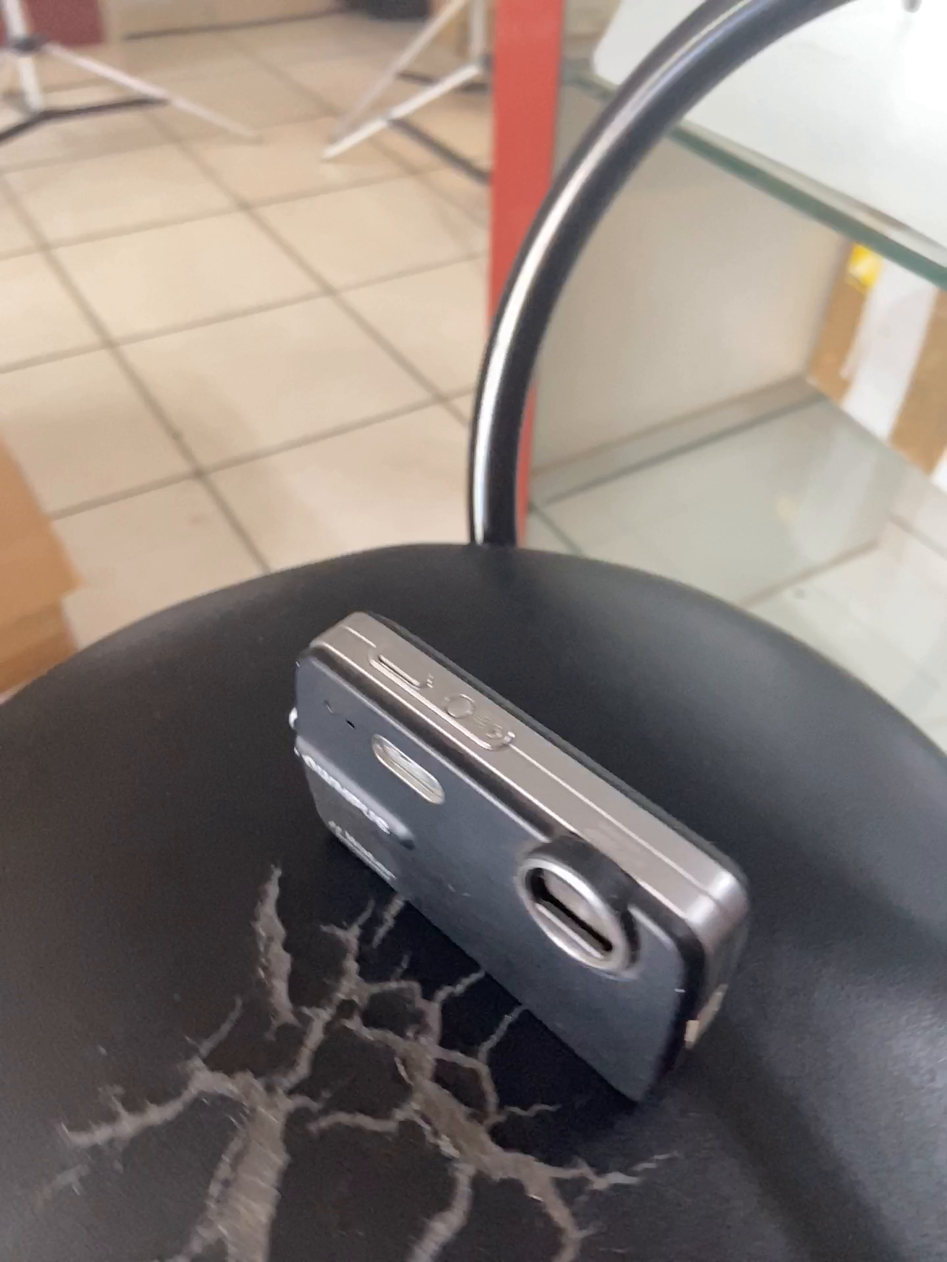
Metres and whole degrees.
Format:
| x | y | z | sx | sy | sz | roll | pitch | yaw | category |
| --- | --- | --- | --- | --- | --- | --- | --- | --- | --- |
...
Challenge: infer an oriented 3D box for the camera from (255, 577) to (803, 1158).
| x | y | z | sx | sy | sz | roll | pitch | yaw | category |
| --- | --- | --- | --- | --- | --- | --- | --- | --- | --- |
| 0.004 | 0.043 | 0.193 | 0.100 | 0.060 | 0.030 | 35 | 53 | 28 | camera |
